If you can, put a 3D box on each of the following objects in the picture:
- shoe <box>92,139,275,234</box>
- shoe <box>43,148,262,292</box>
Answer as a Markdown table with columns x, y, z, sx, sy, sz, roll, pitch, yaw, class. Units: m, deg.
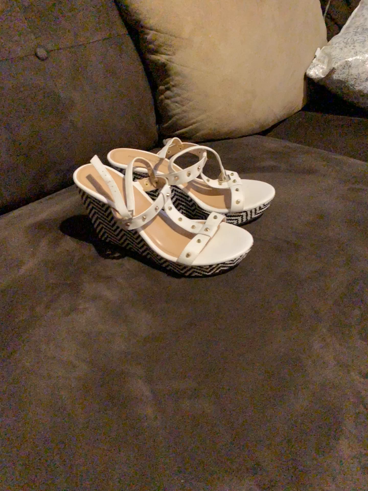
| x | y | z | sx | sy | sz | roll | pitch | yaw | class |
| --- | --- | --- | --- | --- | --- | --- | --- | --- | --- |
| 0.003 | -0.094 | 0.578 | 0.250 | 0.099 | 0.101 | 4 | 35 | 6 | shoe |
| -0.042 | -0.045 | 0.512 | 0.260 | 0.099 | 0.110 | 15 | 37 | 19 | shoe |
